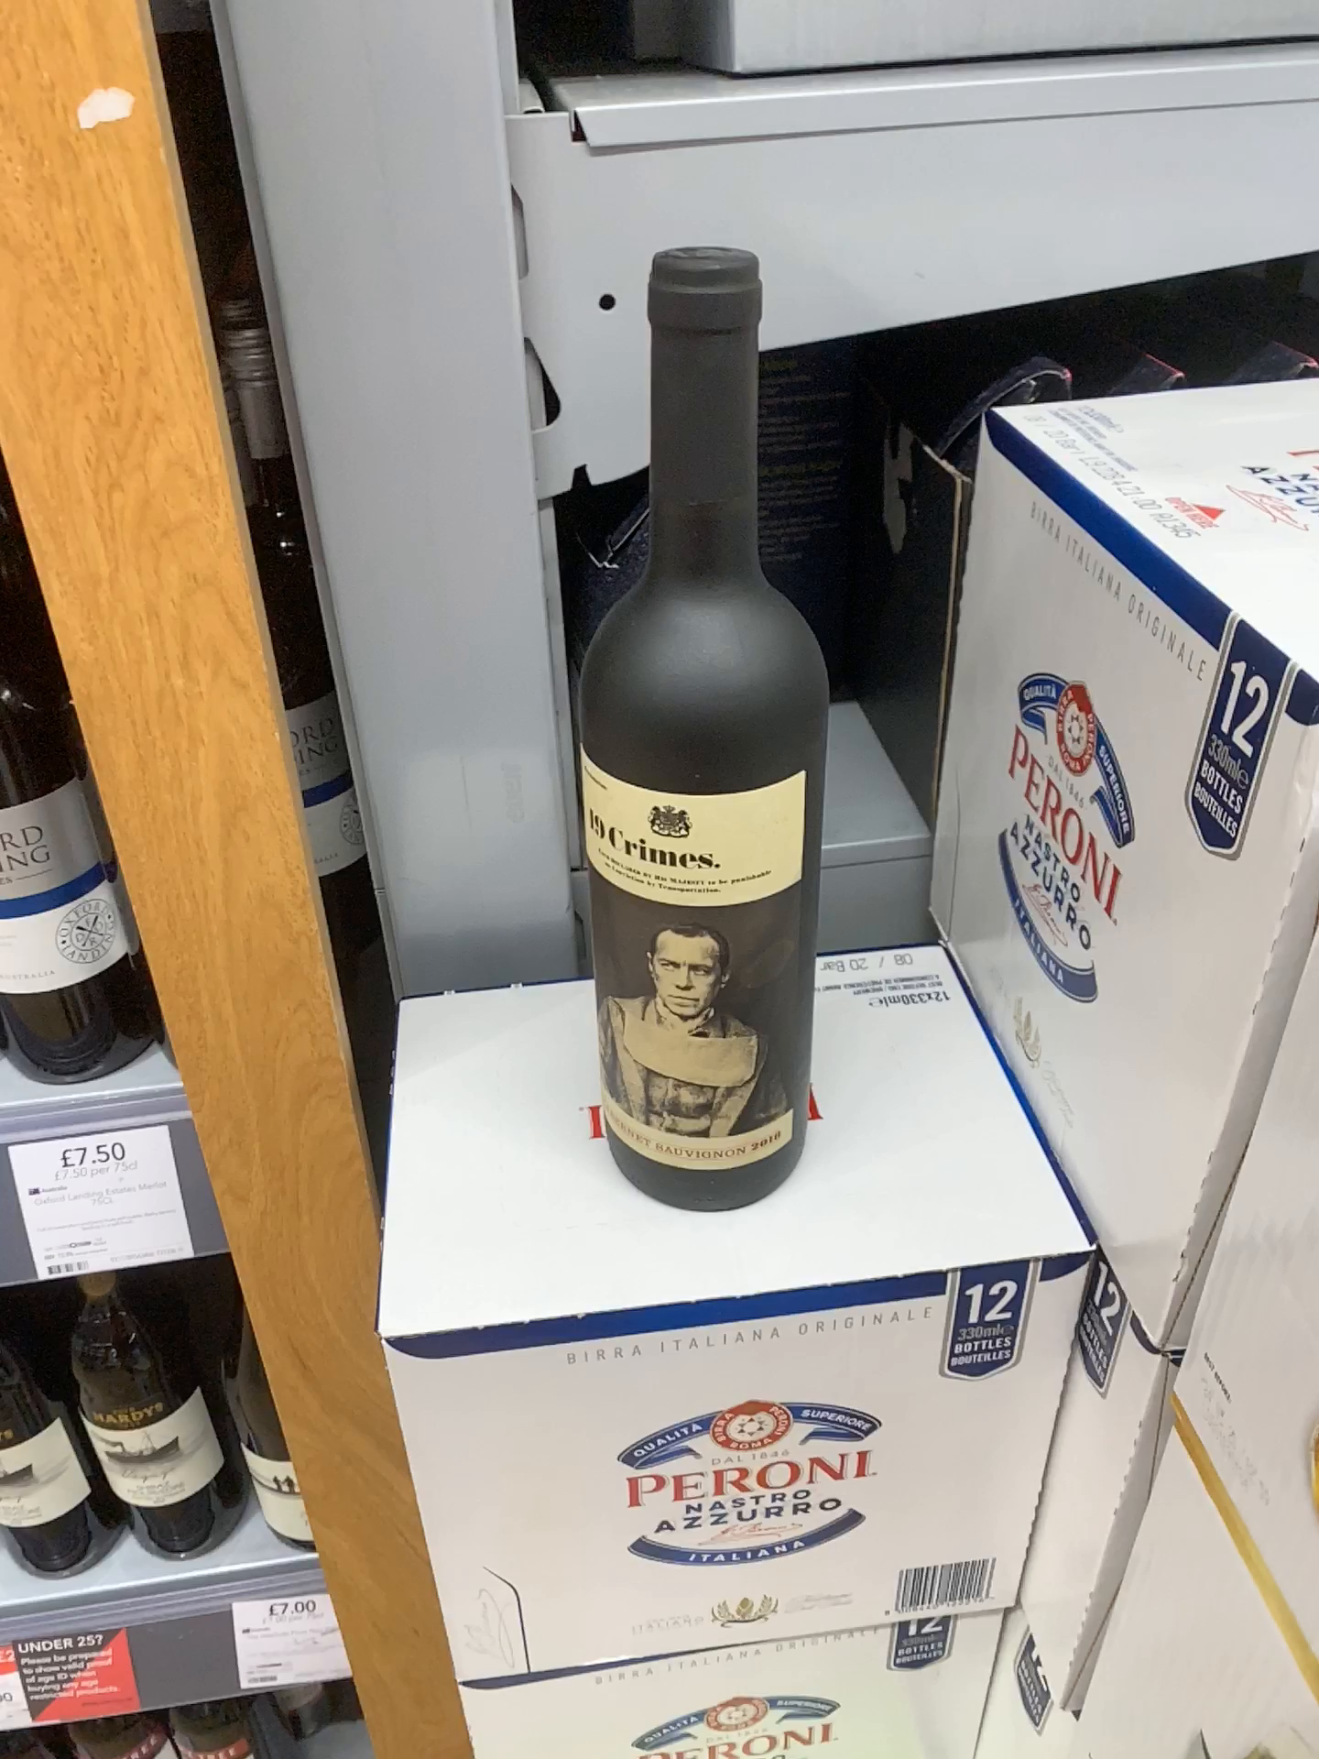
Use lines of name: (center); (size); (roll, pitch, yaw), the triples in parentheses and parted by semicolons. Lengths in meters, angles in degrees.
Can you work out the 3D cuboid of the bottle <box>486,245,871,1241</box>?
bottle: (0.012, -0.026, 0.404); (0.078, 0.288, 0.075); (-2, 34, 1)
